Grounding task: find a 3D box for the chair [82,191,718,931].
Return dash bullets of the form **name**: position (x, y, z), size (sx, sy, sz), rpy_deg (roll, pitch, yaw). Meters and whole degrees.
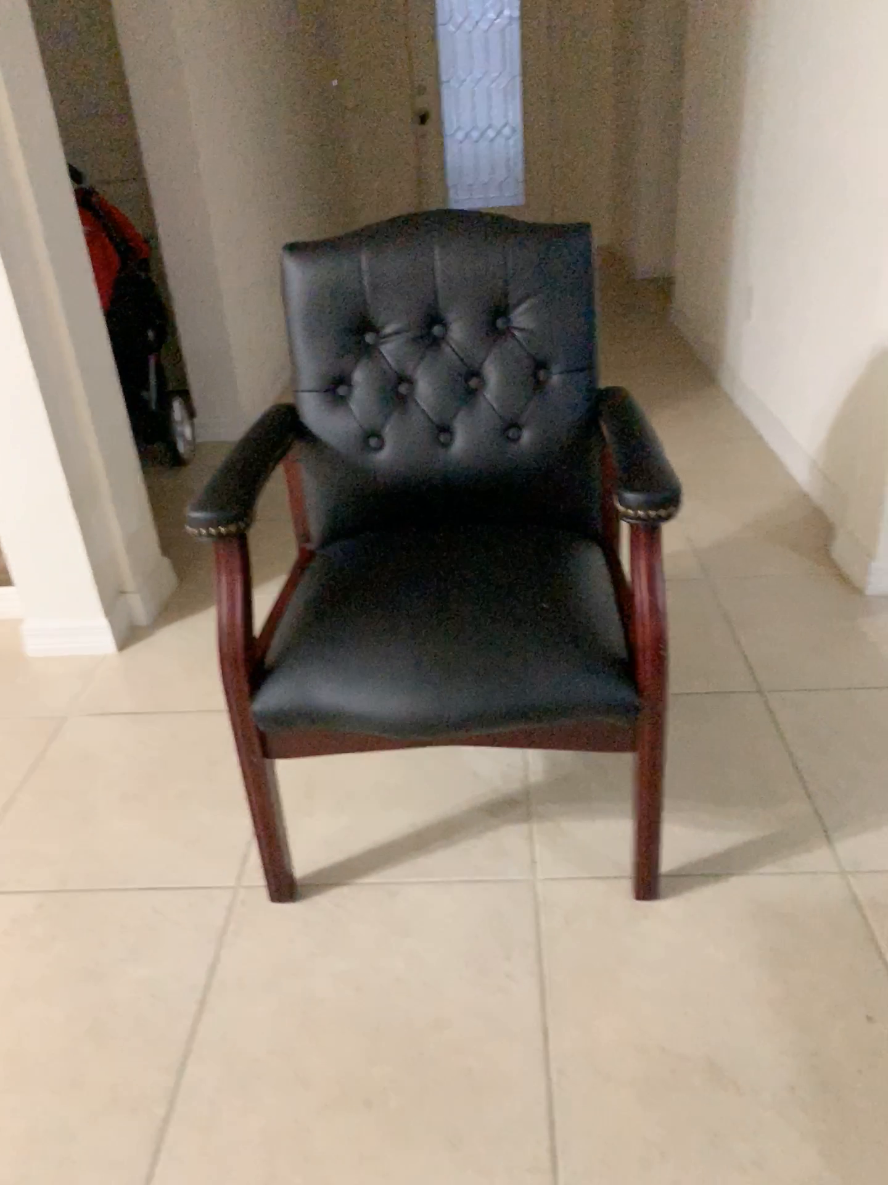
- **chair**: position (-0.009, -0.072, 1.394), size (0.631, 0.908, 0.660), rpy_deg (-2, 28, 4)
